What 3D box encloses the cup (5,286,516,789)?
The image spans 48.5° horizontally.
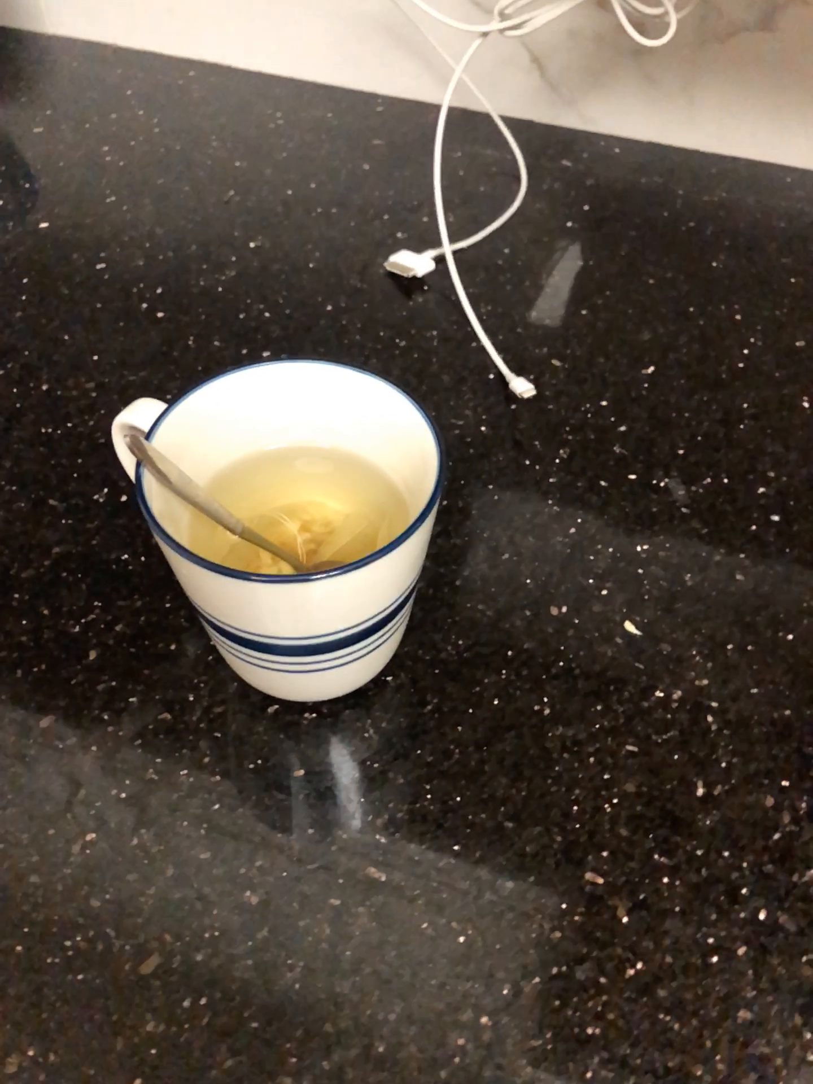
[{"bbox_3d":[-0.042,-0.003,0.290,0.120,0.090,0.080,29,57,20],"label":"cup"}]
